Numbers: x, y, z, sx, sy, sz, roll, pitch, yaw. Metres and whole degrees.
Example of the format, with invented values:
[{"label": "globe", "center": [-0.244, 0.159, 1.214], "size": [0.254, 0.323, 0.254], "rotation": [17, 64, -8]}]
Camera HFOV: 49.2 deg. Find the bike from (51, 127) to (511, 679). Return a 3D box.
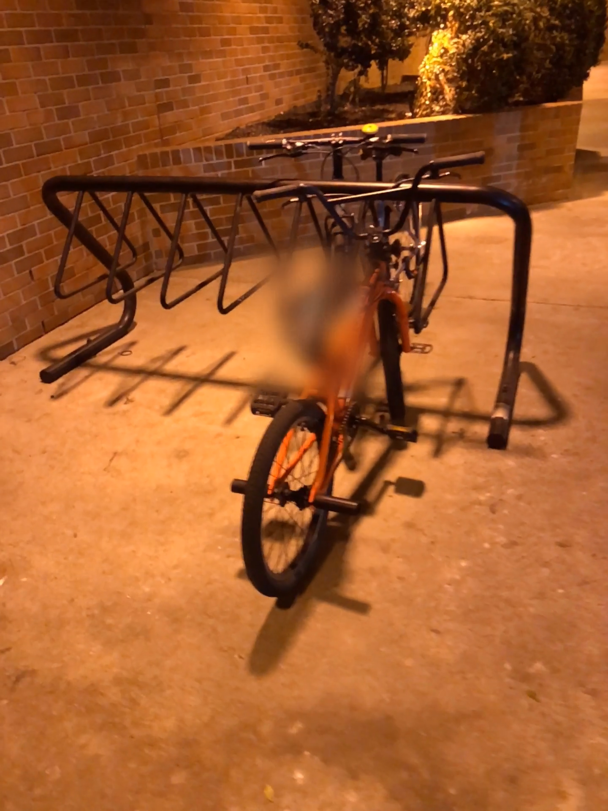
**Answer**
[{"label": "bike", "center": [0.104, -0.177, 1.881], "size": [0.744, 0.927, 1.297], "rotation": [7, 32, 19]}]
